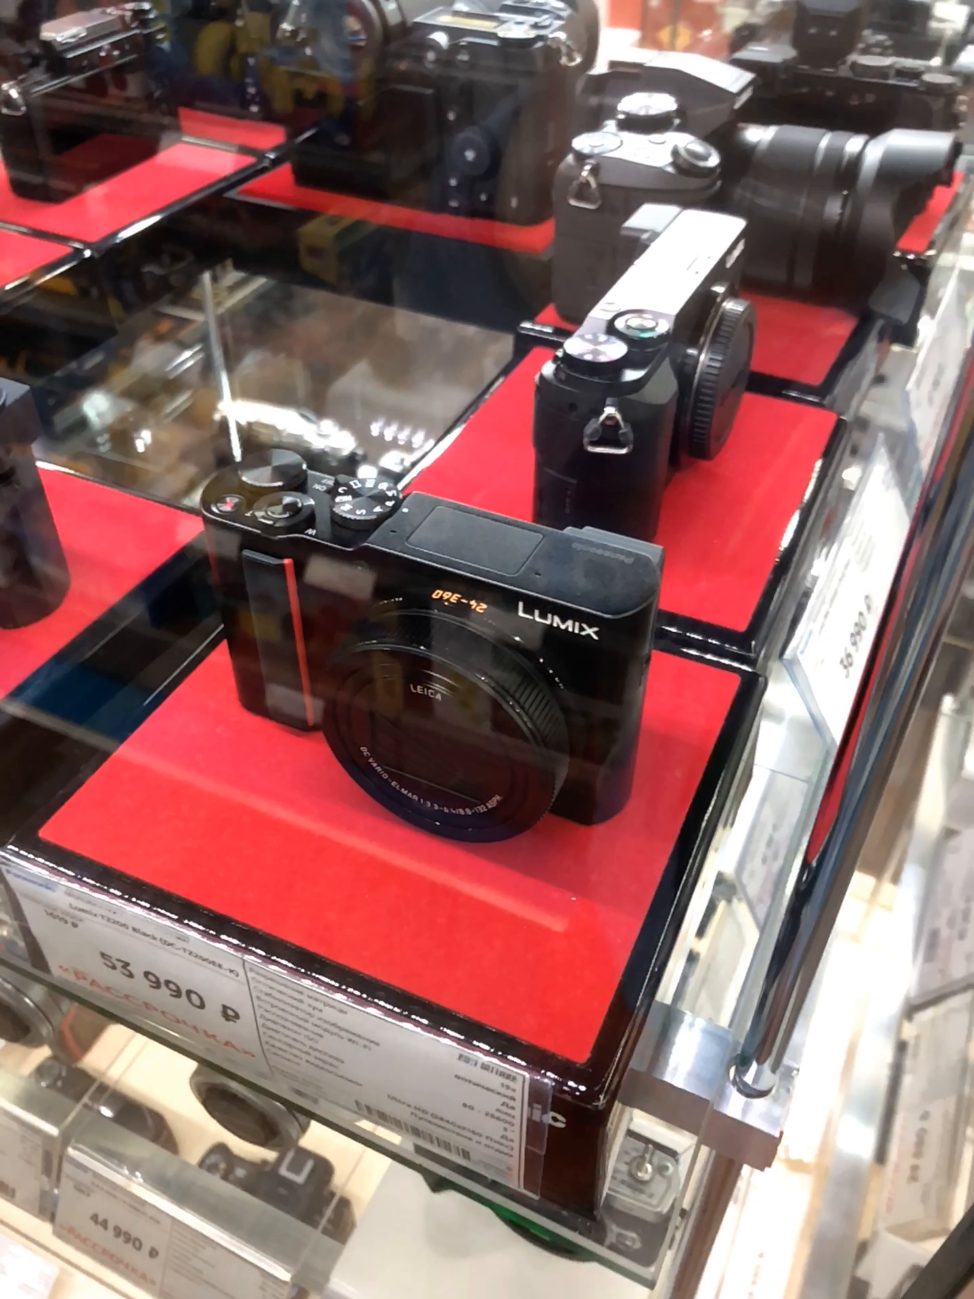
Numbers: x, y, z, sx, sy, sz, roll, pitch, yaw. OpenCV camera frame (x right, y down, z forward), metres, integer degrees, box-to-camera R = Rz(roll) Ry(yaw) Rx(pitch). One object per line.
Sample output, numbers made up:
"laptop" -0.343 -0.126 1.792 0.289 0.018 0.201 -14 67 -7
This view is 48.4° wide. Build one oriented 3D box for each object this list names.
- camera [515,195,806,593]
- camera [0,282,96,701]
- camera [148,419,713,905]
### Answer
"camera" 0.055 -0.084 0.341 0.054 0.076 0.102 17 45 18
"camera" -0.184 -0.048 0.313 0.114 0.076 0.055 19 45 20
"camera" -0.012 0.000 0.256 0.110 0.070 0.052 17 45 18
